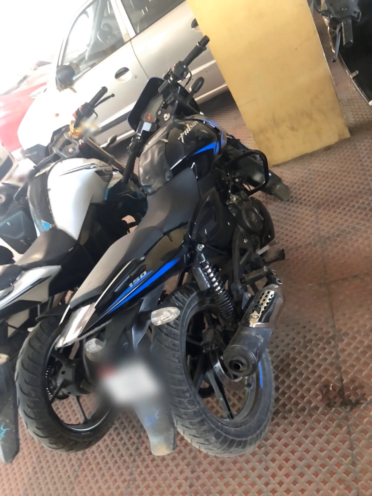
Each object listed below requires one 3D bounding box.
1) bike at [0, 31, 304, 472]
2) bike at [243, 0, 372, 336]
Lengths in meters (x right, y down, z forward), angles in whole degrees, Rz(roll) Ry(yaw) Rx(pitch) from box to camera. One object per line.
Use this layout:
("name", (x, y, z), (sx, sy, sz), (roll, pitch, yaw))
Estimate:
("bike", (-0.087, -0.141, 1.892), (0.746, 0.988, 1.850), (-19, 34, 23))
("bike", (0.949, -0.714, 1.906), (0.713, 1.222, 1.721), (-24, 33, 16))
